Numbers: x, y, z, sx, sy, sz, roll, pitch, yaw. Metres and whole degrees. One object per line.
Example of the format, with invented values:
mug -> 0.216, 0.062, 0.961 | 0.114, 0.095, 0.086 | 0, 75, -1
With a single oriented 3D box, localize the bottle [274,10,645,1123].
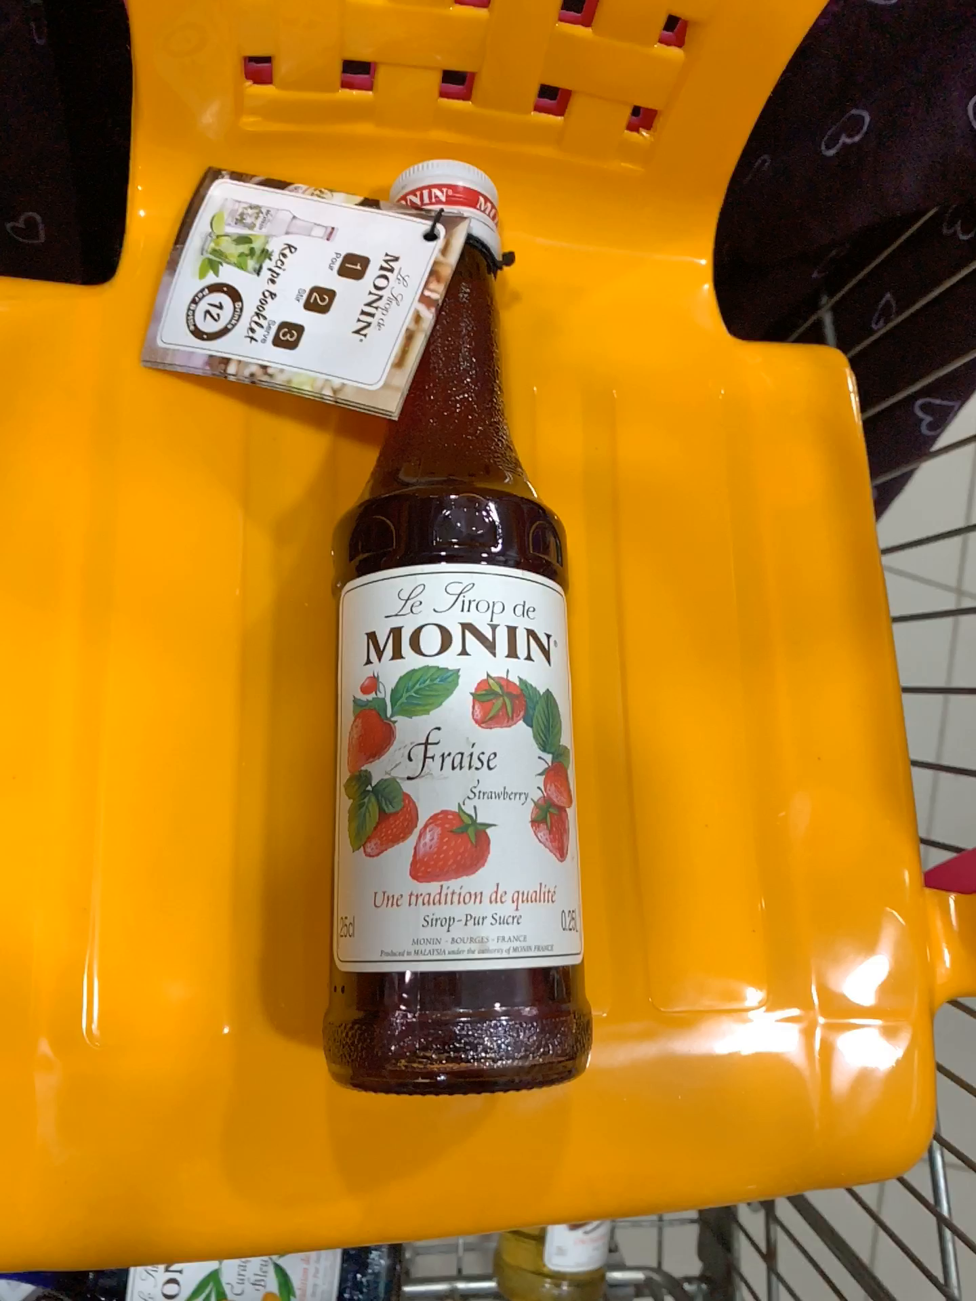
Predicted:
bottle -> -0.012, -0.025, 0.227 | 0.060, 0.060, 0.230 | 3, 71, -12
